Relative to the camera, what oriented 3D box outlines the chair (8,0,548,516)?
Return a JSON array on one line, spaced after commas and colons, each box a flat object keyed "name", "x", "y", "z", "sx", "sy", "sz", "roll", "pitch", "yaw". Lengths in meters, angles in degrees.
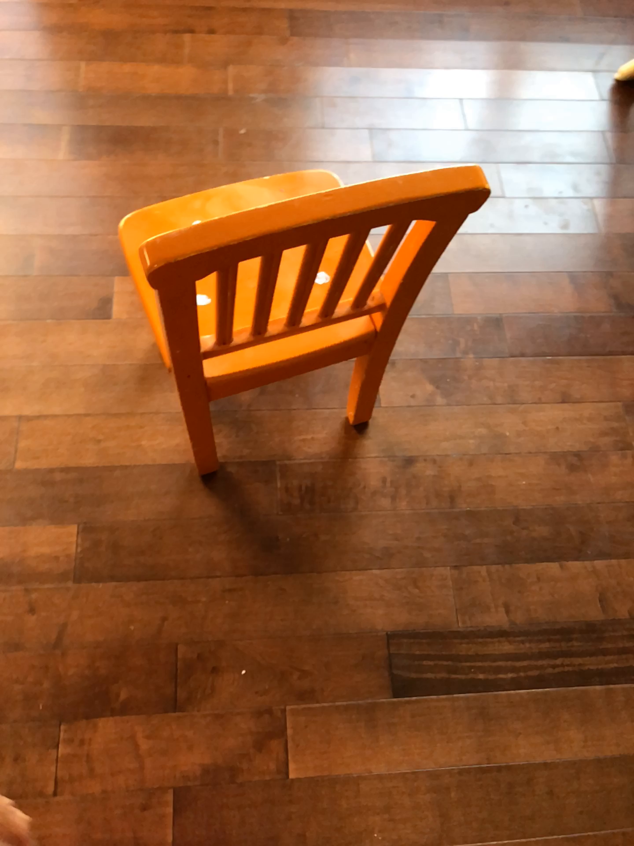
[{"name": "chair", "x": -0.065, "y": -0.190, "z": 0.845, "sx": 0.360, "sy": 0.569, "sz": 0.350, "roll": -16, "pitch": 67, "yaw": -12}]
